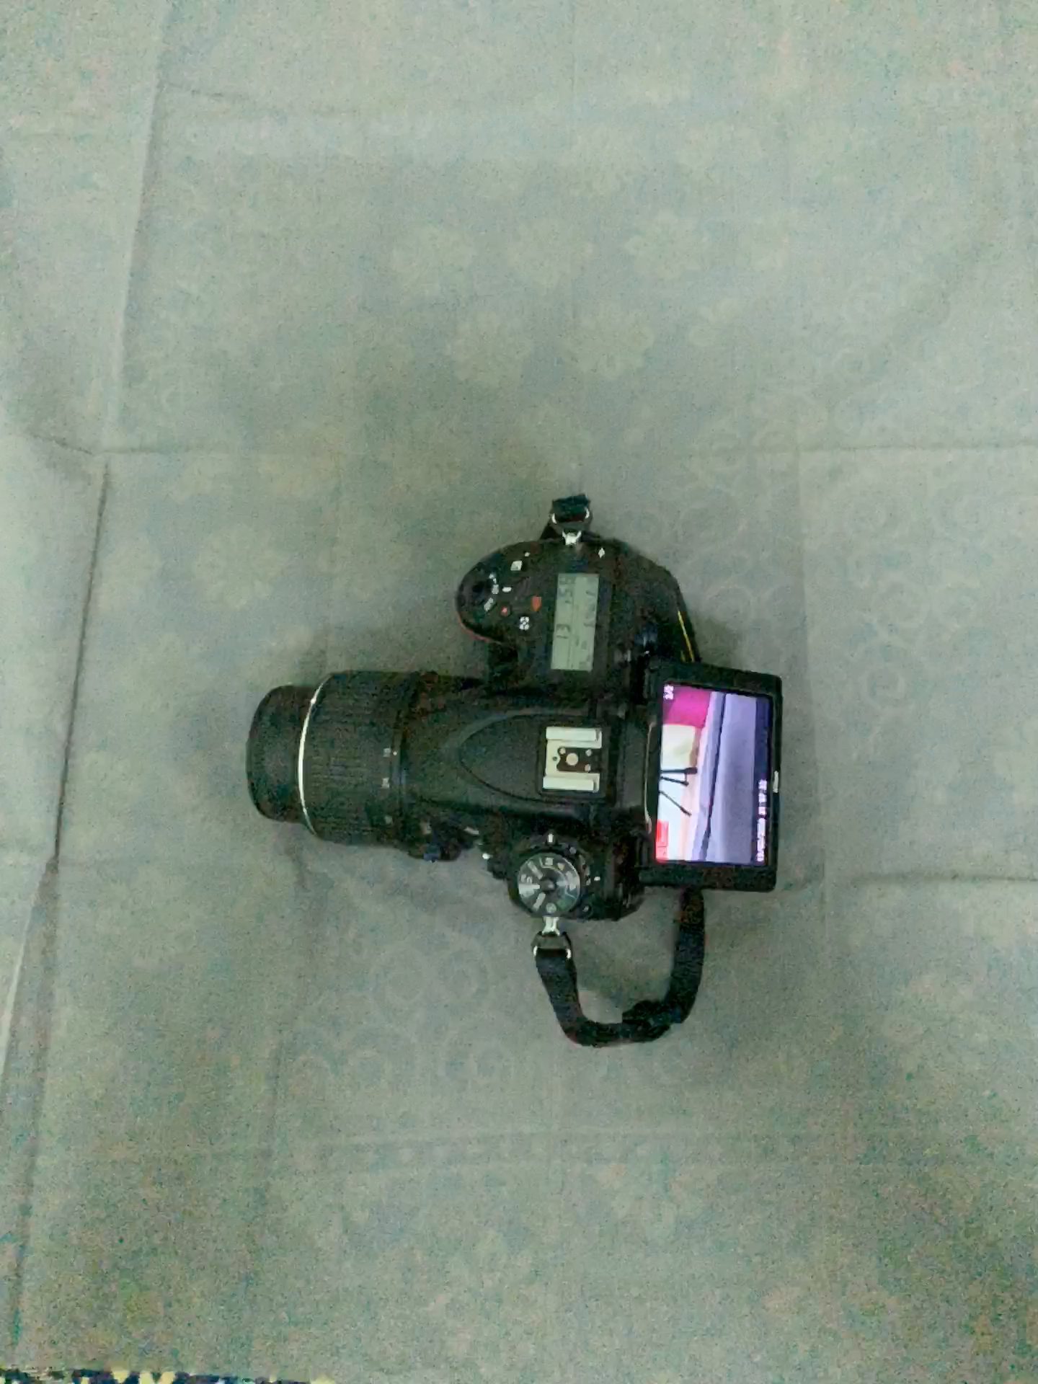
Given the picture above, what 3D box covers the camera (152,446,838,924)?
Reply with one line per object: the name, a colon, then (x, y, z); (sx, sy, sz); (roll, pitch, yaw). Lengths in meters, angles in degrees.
camera: (-0.008, 0.004, 0.426); (0.230, 0.100, 0.165); (-1, 75, 3)
